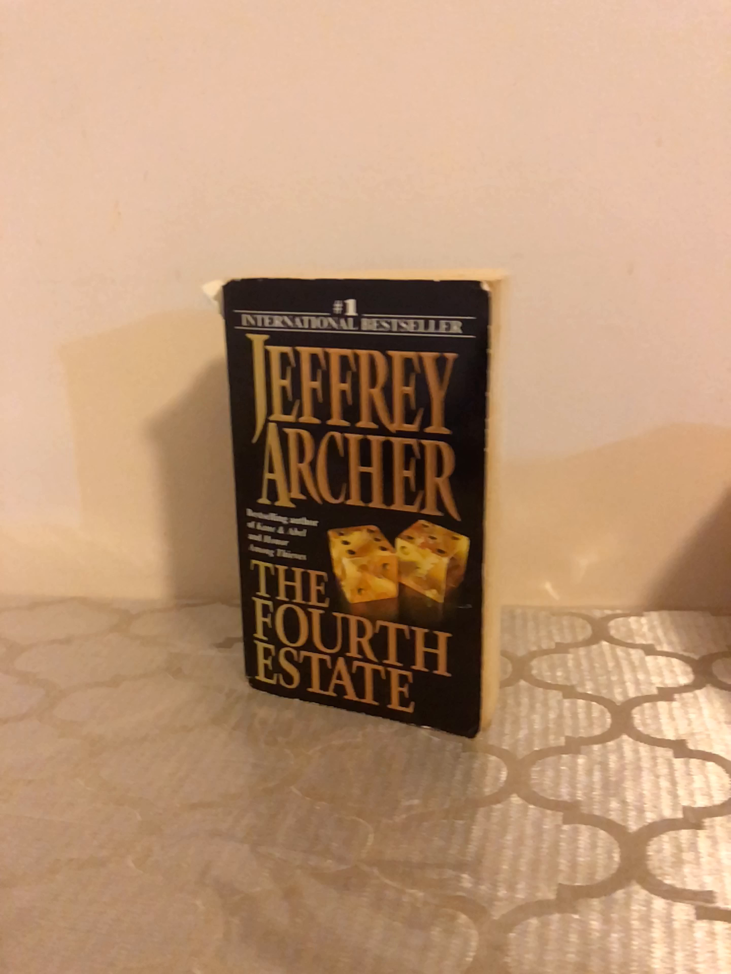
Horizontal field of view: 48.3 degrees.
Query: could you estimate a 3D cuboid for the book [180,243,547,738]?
[{"bbox_3d":[0.002,-0.005,0.319,0.120,0.169,0.060,5,16,23],"label":"book"}]
